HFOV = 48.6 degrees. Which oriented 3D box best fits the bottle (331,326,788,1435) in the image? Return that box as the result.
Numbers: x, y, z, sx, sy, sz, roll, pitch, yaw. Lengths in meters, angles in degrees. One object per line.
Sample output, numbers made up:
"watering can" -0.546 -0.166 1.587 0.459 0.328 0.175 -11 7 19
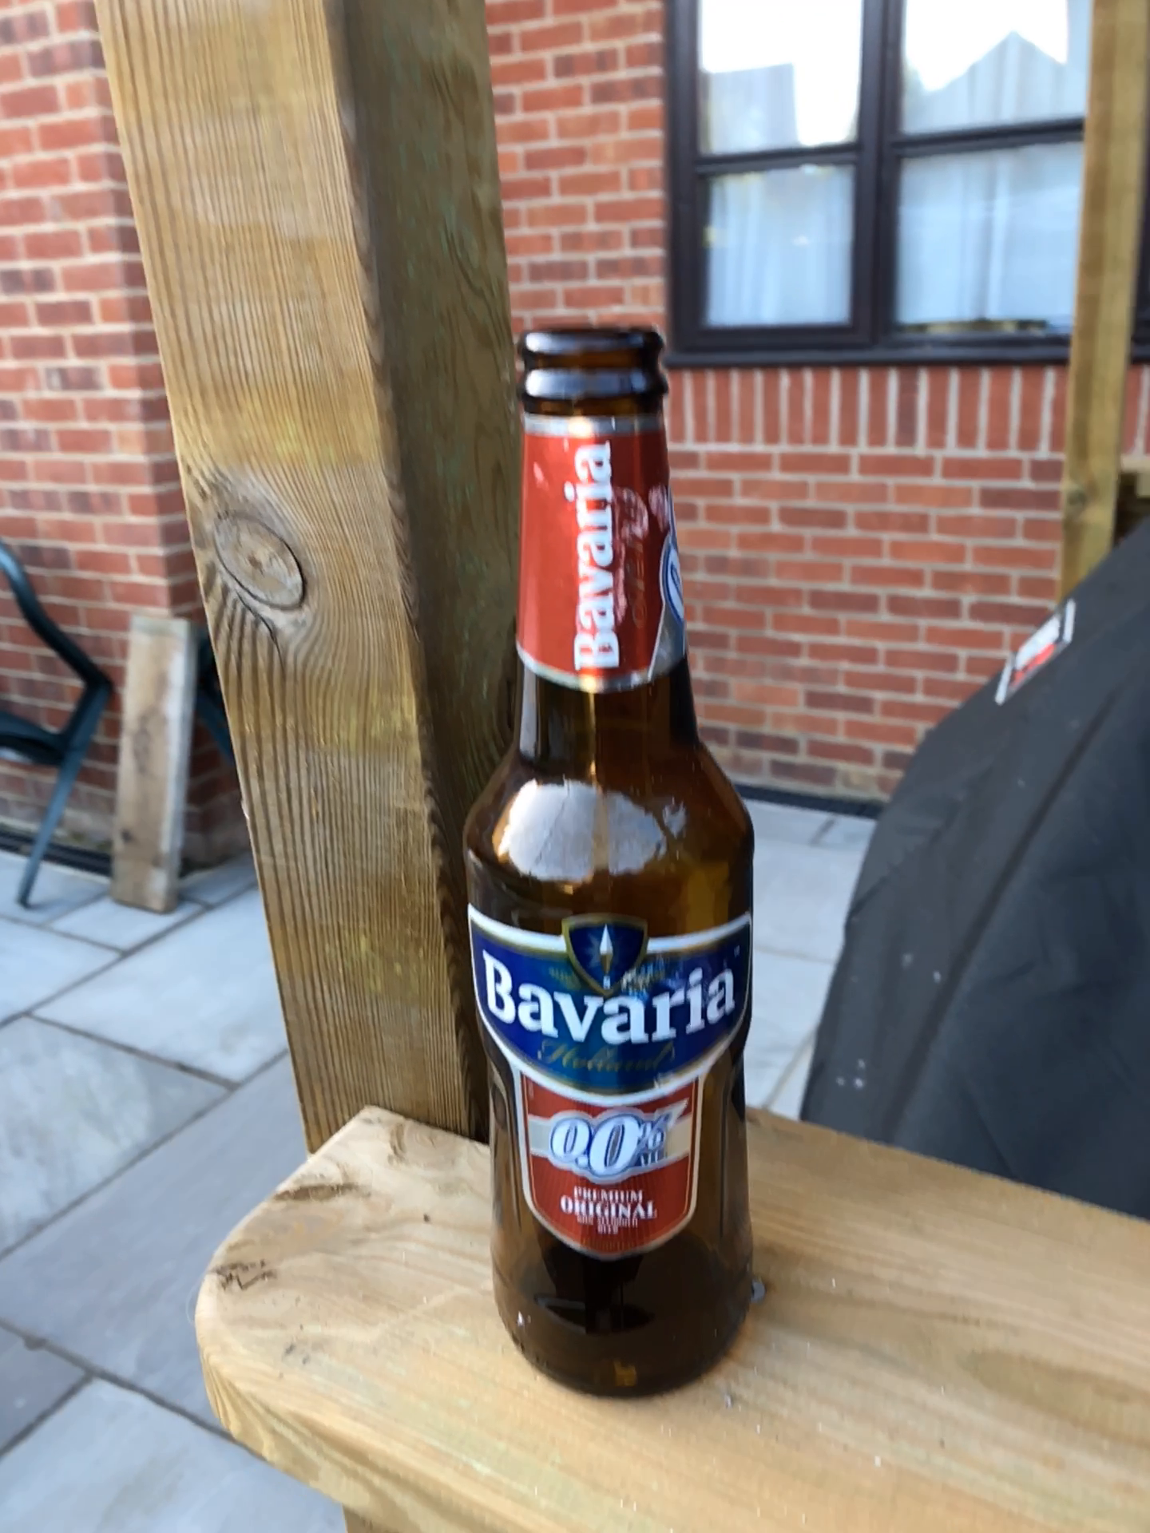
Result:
"bottle" 0.004 0.024 0.254 0.070 0.209 0.060 0 19 8
